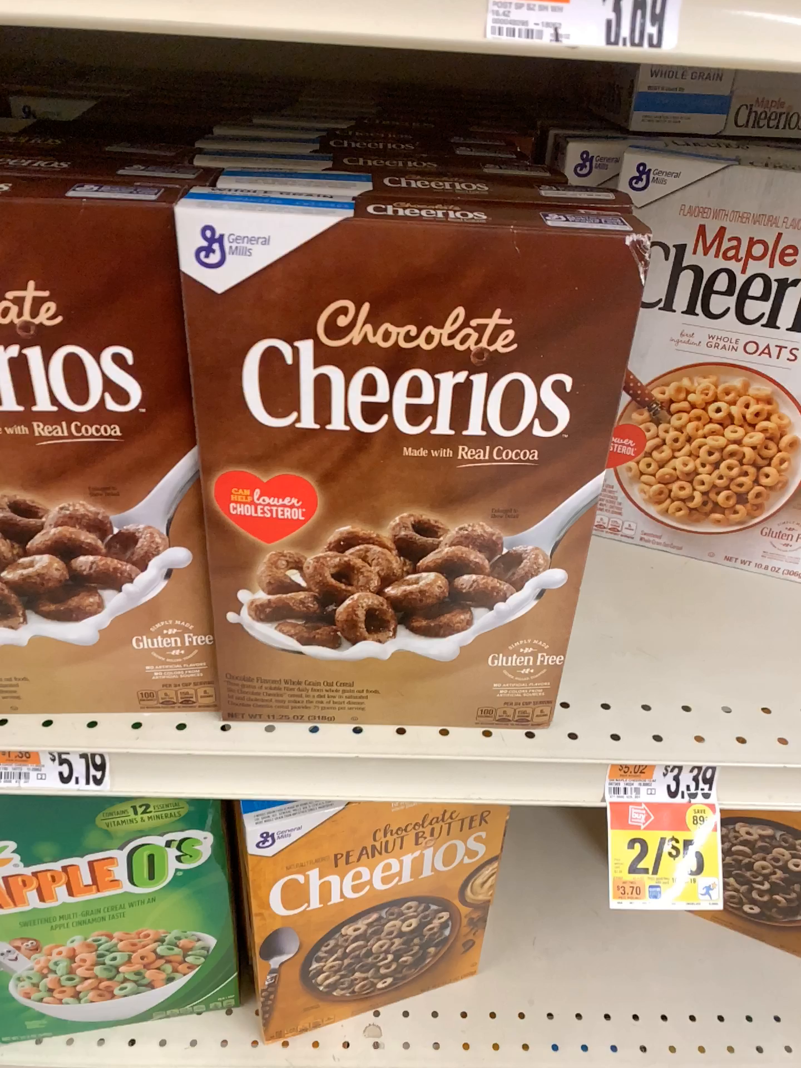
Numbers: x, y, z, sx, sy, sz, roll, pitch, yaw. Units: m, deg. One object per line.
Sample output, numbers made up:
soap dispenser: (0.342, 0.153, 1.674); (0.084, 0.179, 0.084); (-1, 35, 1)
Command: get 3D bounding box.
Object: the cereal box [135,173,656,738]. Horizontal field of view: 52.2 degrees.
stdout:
cereal box: (-0.009, -0.021, 0.437); (0.210, 0.298, 0.060); (3, 34, -2)
